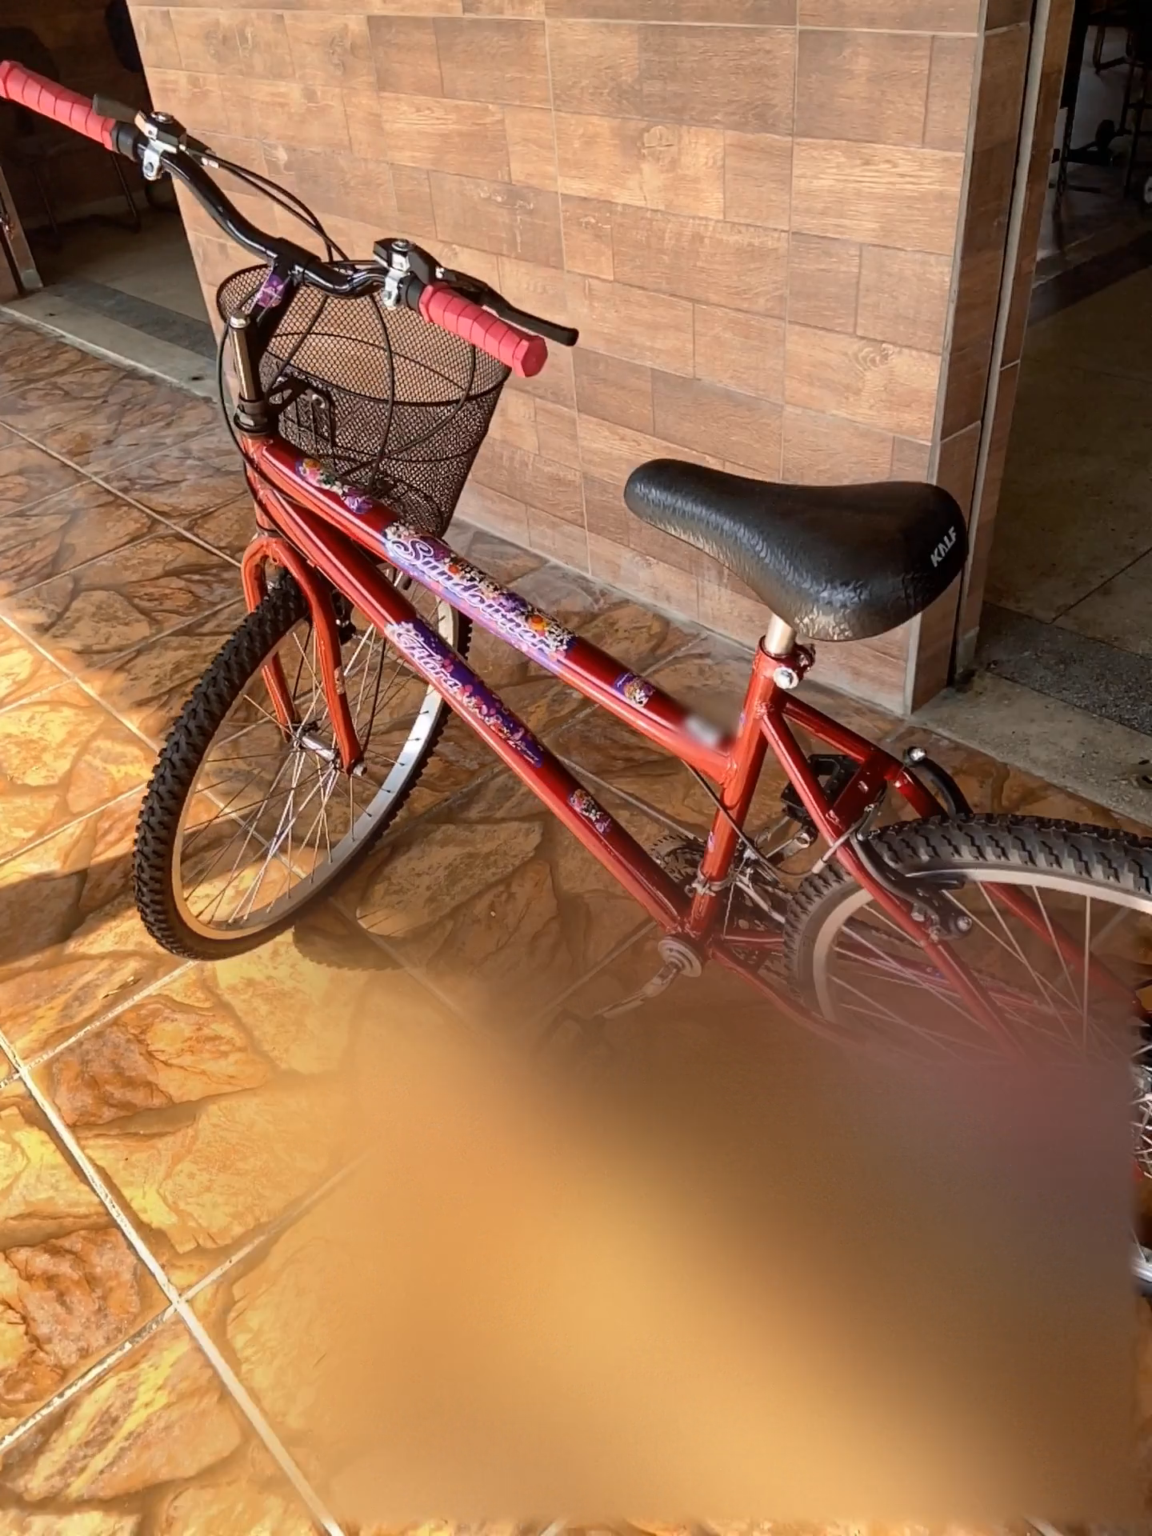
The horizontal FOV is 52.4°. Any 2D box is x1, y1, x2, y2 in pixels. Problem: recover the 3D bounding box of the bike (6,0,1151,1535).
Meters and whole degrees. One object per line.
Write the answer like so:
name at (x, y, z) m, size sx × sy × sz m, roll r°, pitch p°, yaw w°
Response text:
bike at (0.154, -0.031, 1.094) m, size 0.551 × 1.080 × 1.413 m, roll -30°, pitch 43°, yaw -28°
